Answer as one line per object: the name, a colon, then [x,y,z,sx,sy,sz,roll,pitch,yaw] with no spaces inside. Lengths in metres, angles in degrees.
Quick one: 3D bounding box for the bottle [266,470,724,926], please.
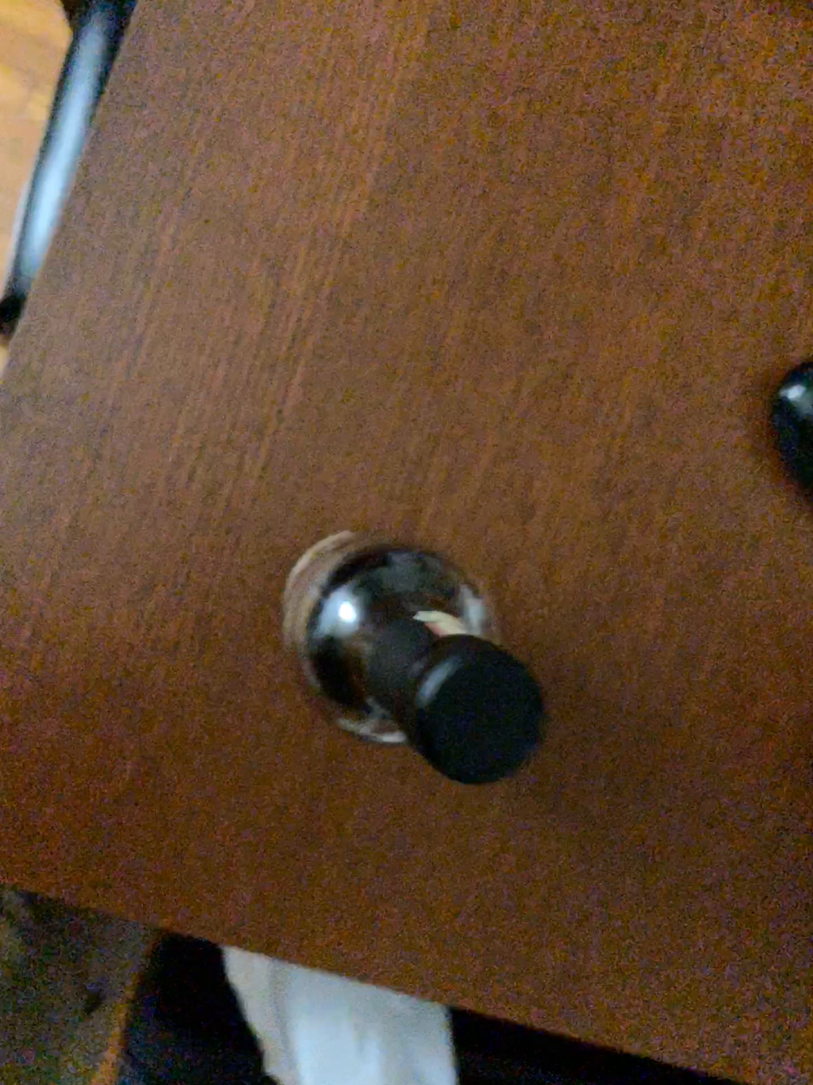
bottle: [-0.002,0.031,0.329,0.090,0.290,0.090,0,92,-9]
